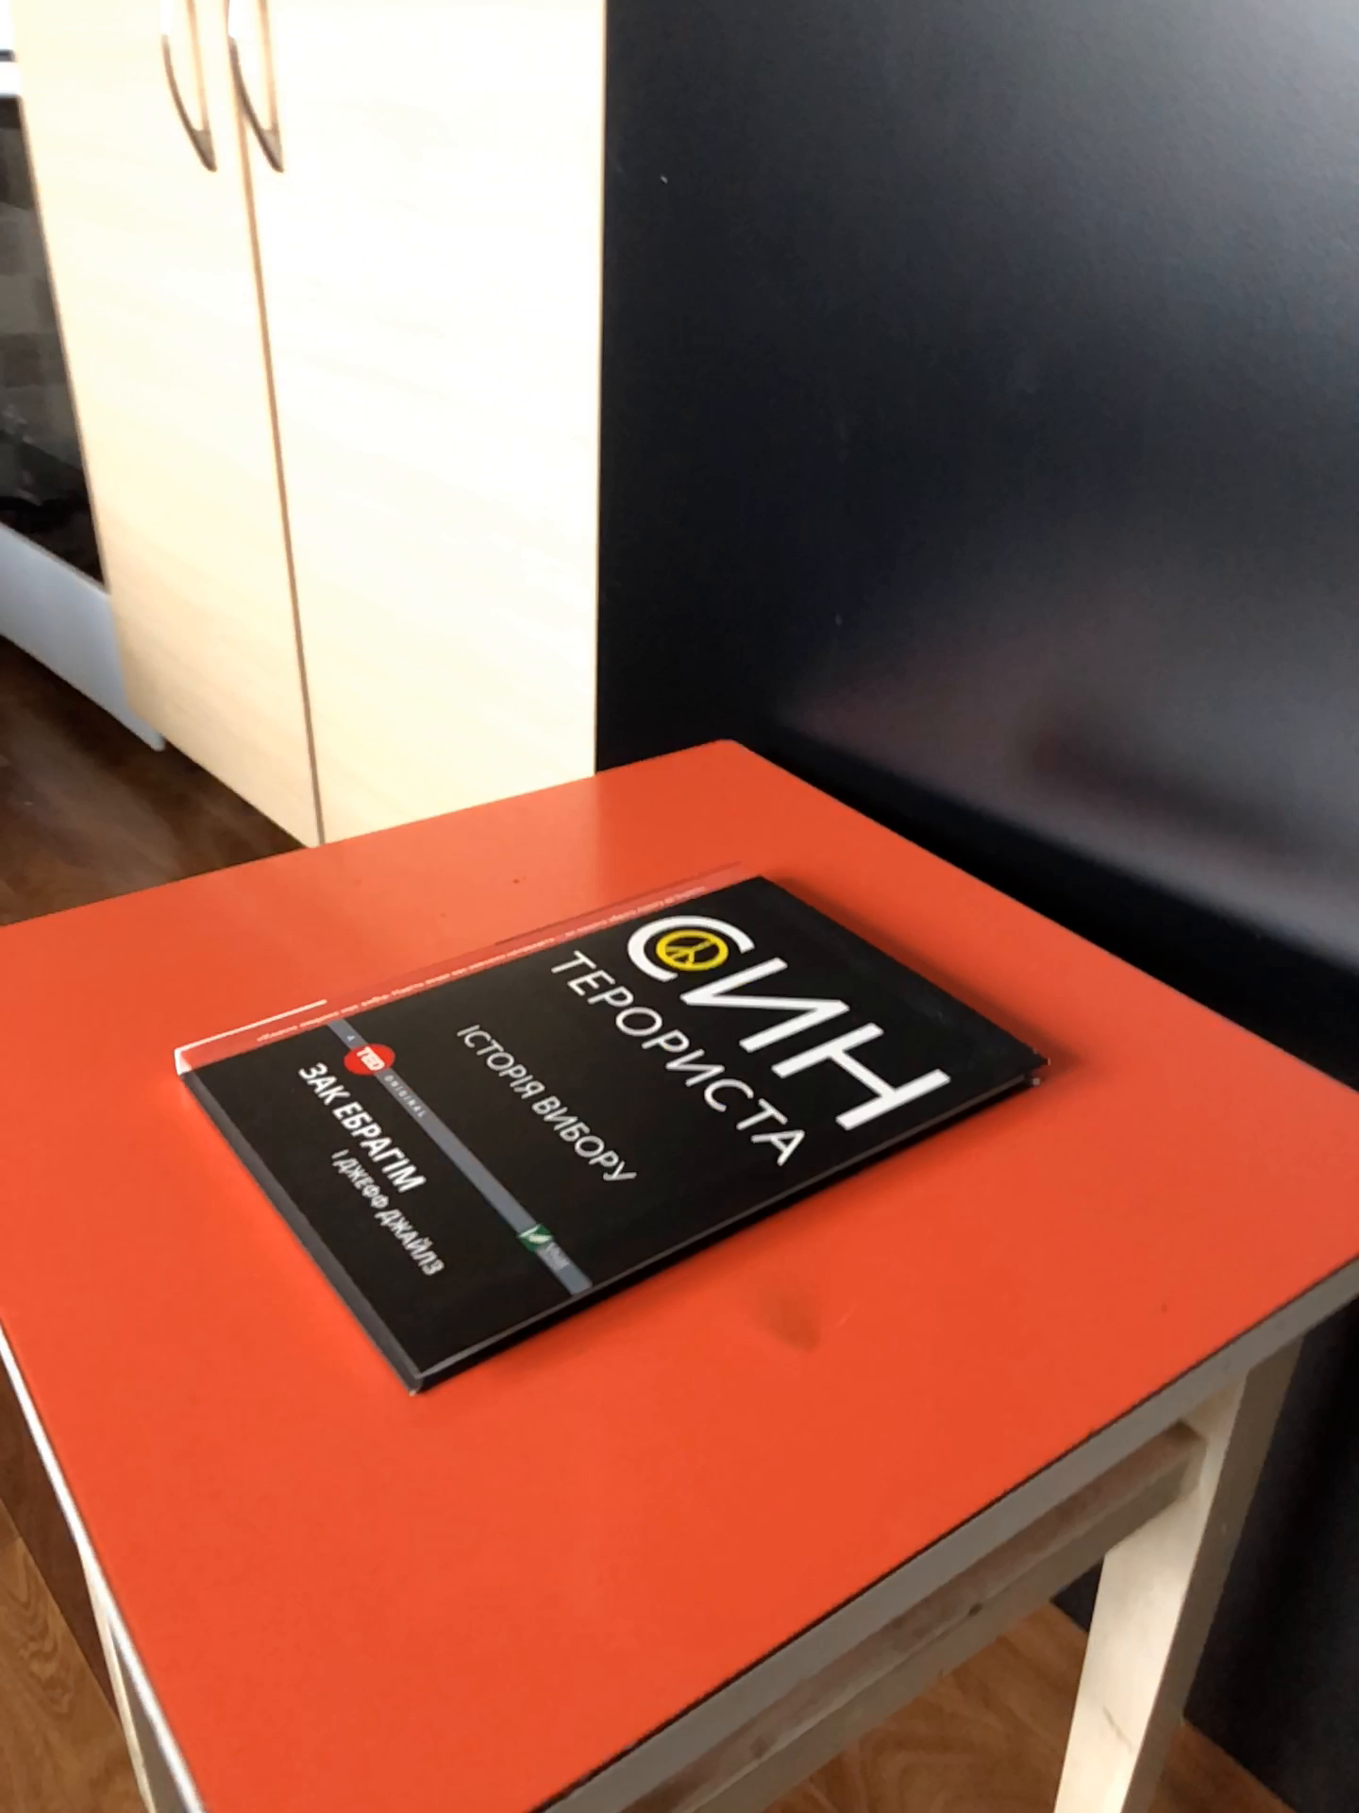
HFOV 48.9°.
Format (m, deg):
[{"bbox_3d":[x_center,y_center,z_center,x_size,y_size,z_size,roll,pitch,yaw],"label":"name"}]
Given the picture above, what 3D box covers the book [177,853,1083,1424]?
[{"bbox_3d":[-0.014,0.046,0.422,0.206,0.013,0.150,-18,35,-31],"label":"book"}]
